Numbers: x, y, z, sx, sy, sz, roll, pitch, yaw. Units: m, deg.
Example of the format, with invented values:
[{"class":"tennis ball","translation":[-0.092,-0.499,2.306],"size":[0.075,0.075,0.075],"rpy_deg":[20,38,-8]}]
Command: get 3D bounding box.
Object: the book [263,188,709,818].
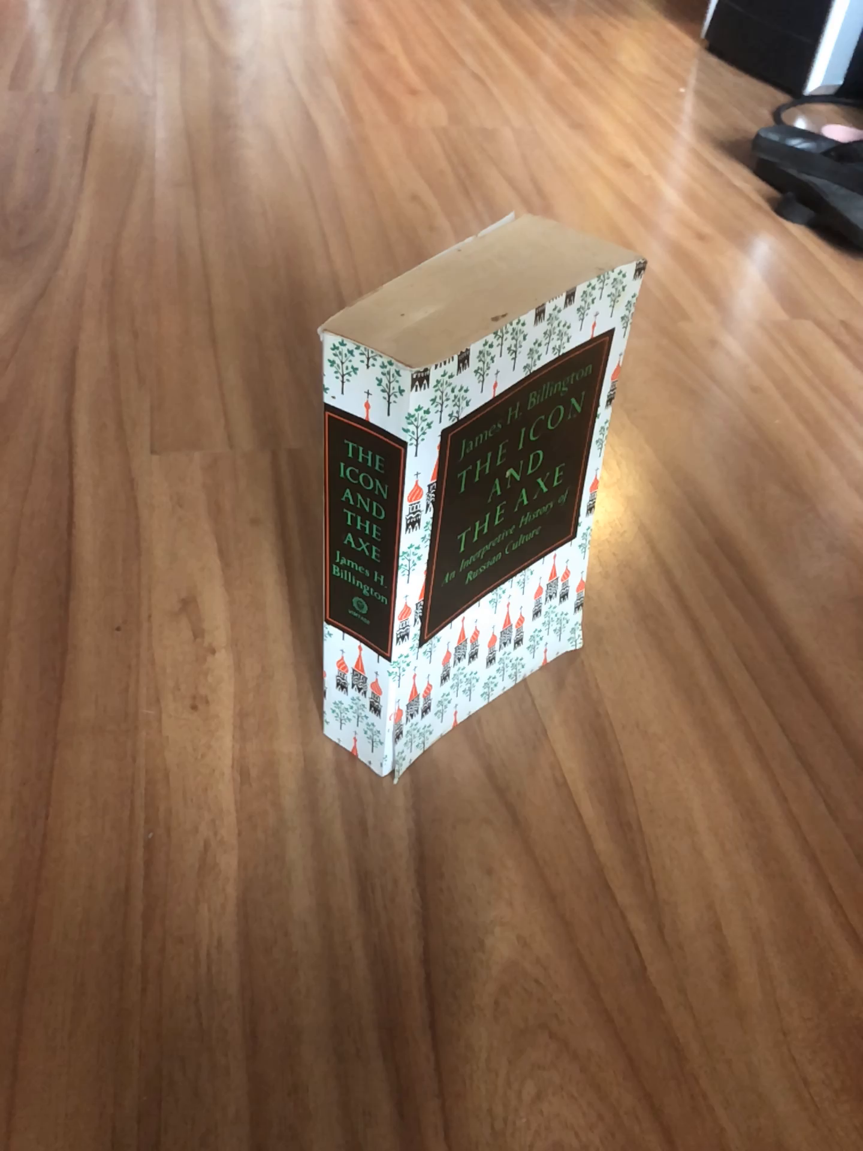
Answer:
[{"class":"book","translation":[0.019,-0.027,0.374],"size":[0.060,0.199,0.151],"rpy_deg":[34,49,31]}]
